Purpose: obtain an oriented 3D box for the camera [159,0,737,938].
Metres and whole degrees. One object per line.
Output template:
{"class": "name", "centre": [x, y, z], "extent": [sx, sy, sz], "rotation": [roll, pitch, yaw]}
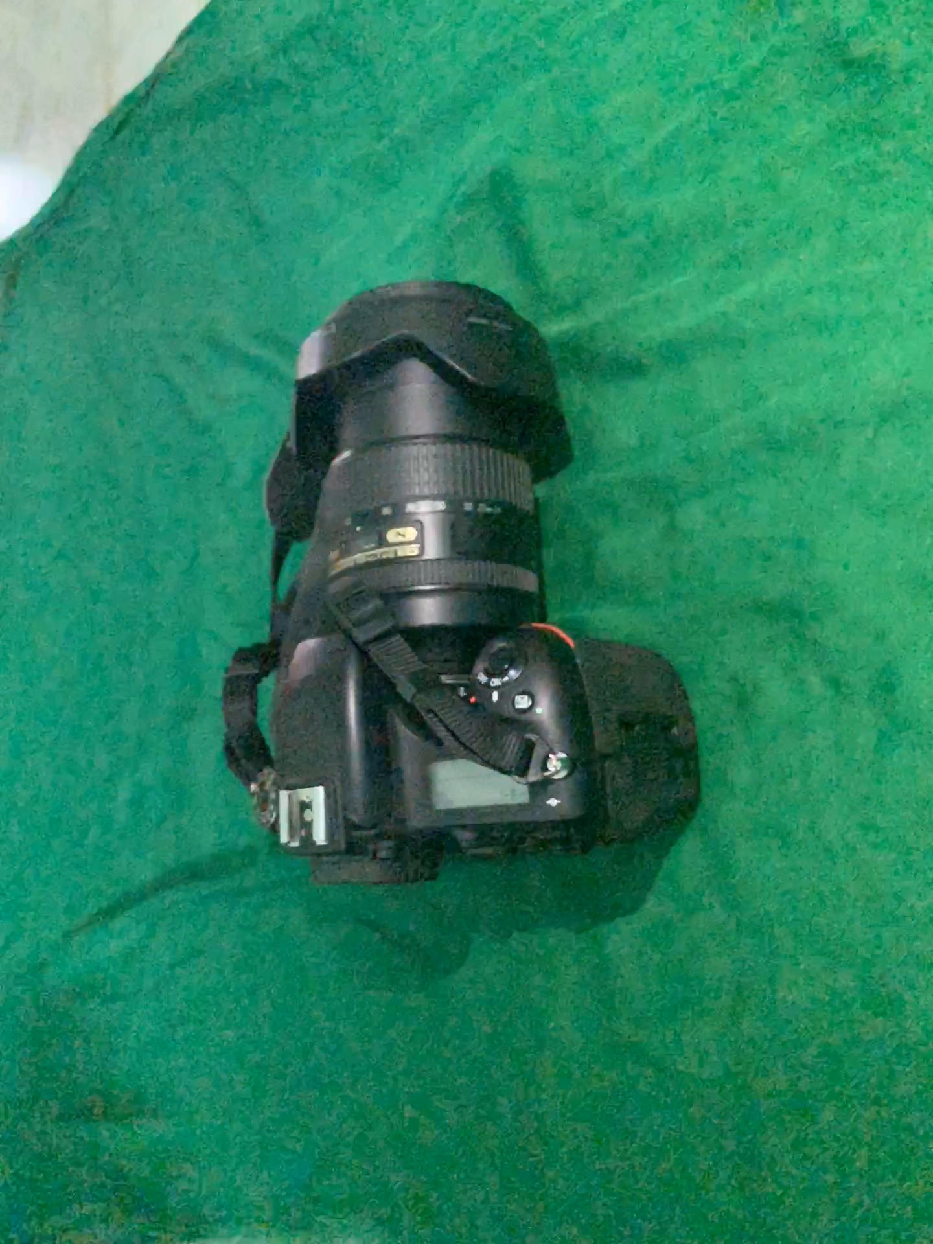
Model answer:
{"class": "camera", "centre": [-0.011, -0.041, 0.359], "extent": [0.171, 0.099, 0.290], "rotation": [-12, 71, 39]}
